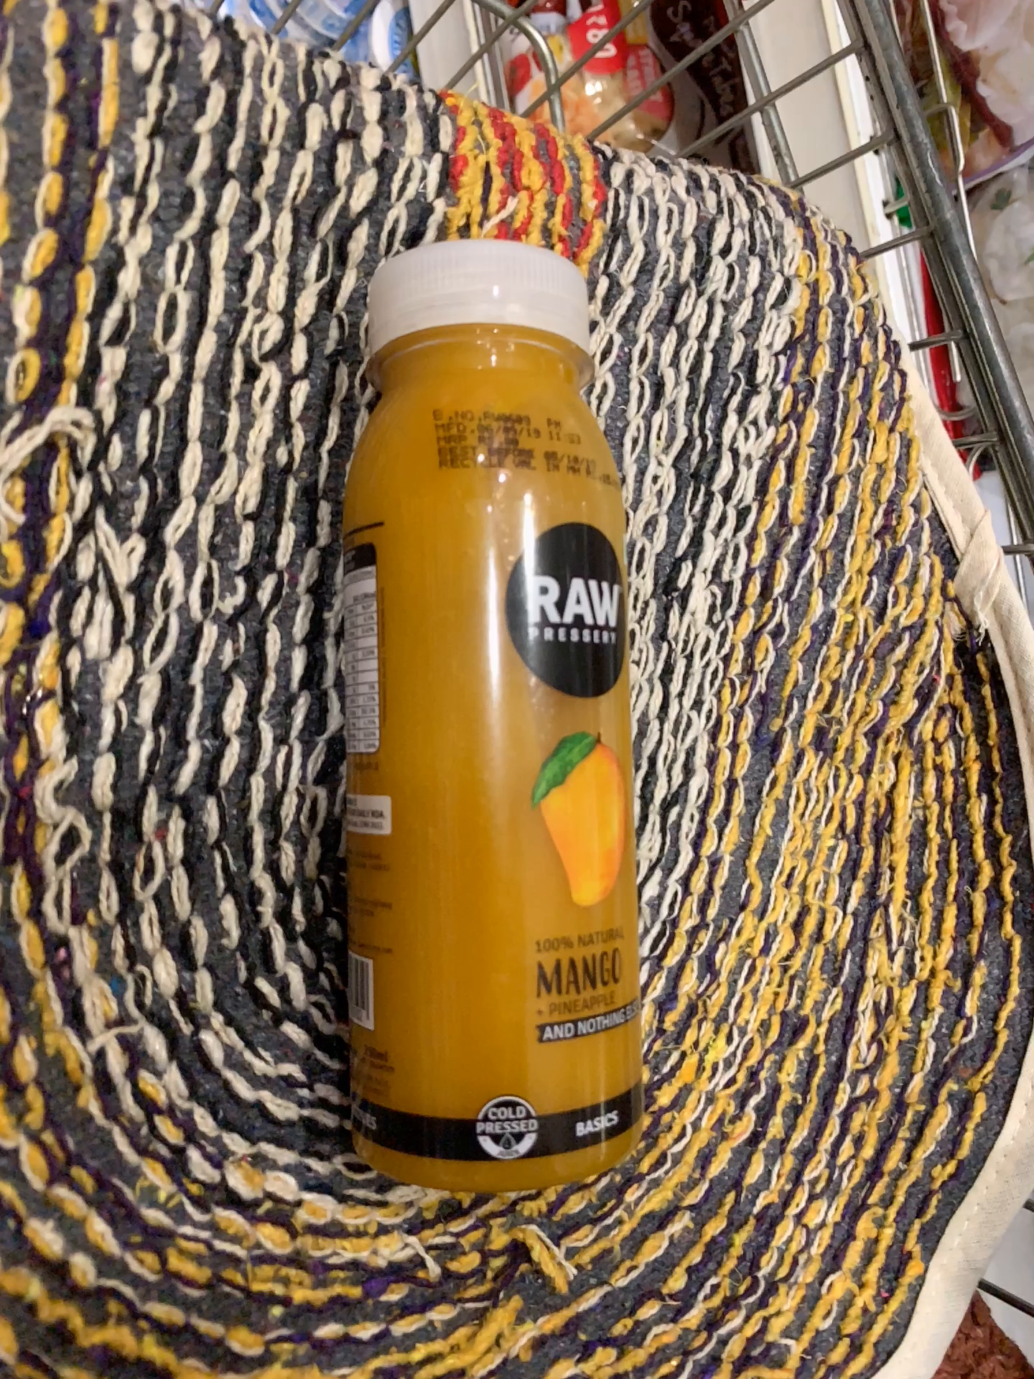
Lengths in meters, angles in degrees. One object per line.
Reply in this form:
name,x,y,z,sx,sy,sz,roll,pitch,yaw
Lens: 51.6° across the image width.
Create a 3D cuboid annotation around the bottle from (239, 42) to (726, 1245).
bottle,-0.008,-0.008,0.188,0.060,0.050,0.170,1,83,-38
